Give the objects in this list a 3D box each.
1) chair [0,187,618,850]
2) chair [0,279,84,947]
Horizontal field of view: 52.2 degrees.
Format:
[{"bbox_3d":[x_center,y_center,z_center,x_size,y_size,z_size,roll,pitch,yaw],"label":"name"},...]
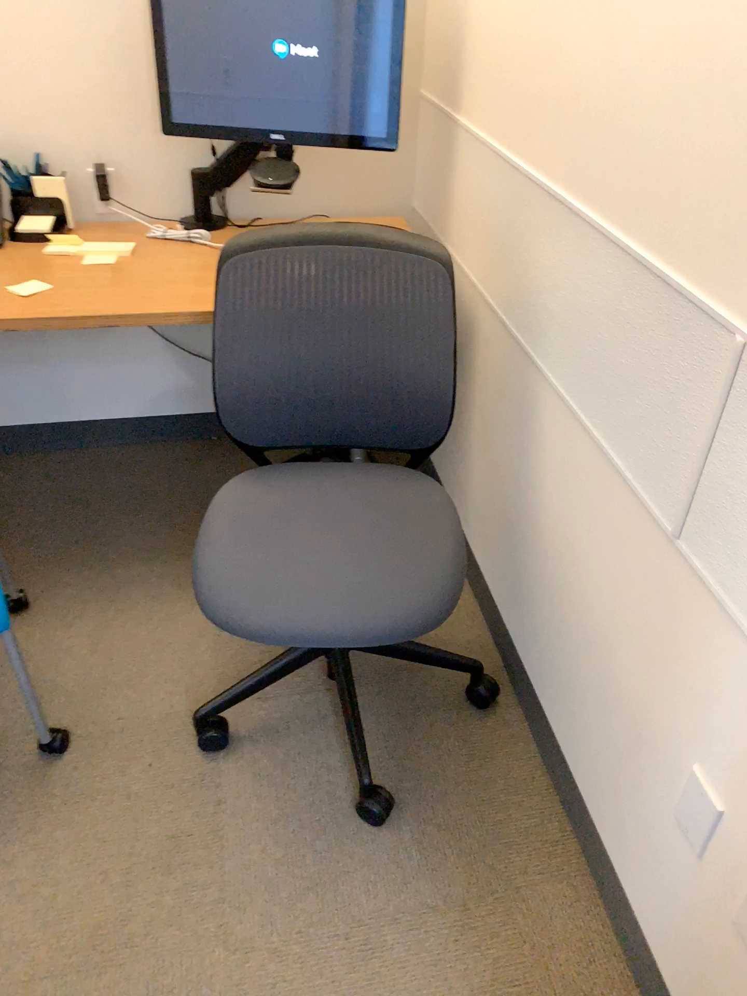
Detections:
[{"bbox_3d":[-0.077,-0.020,1.549,0.750,0.885,0.975,4,37,2],"label":"chair"},{"bbox_3d":[-0.933,0.123,1.337,0.530,0.686,0.794,-17,41,-24],"label":"chair"}]
